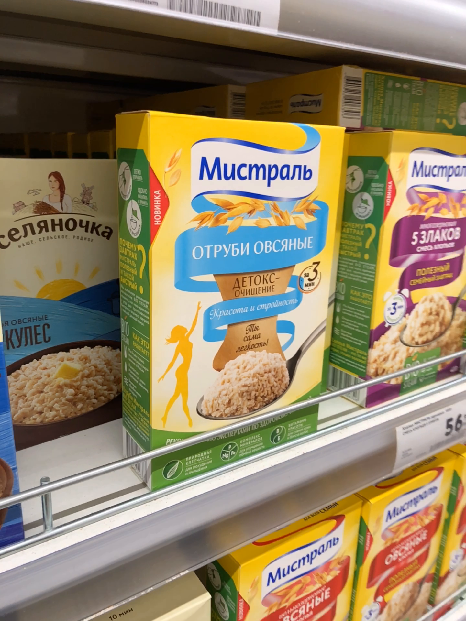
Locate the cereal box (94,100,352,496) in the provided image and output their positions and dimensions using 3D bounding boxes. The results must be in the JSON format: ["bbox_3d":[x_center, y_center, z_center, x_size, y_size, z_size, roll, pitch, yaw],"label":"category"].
[{"bbox_3d":[-0.003,-0.012,0.320,0.140,0.209,0.050,-10,20,-32],"label":"cereal box"}]
